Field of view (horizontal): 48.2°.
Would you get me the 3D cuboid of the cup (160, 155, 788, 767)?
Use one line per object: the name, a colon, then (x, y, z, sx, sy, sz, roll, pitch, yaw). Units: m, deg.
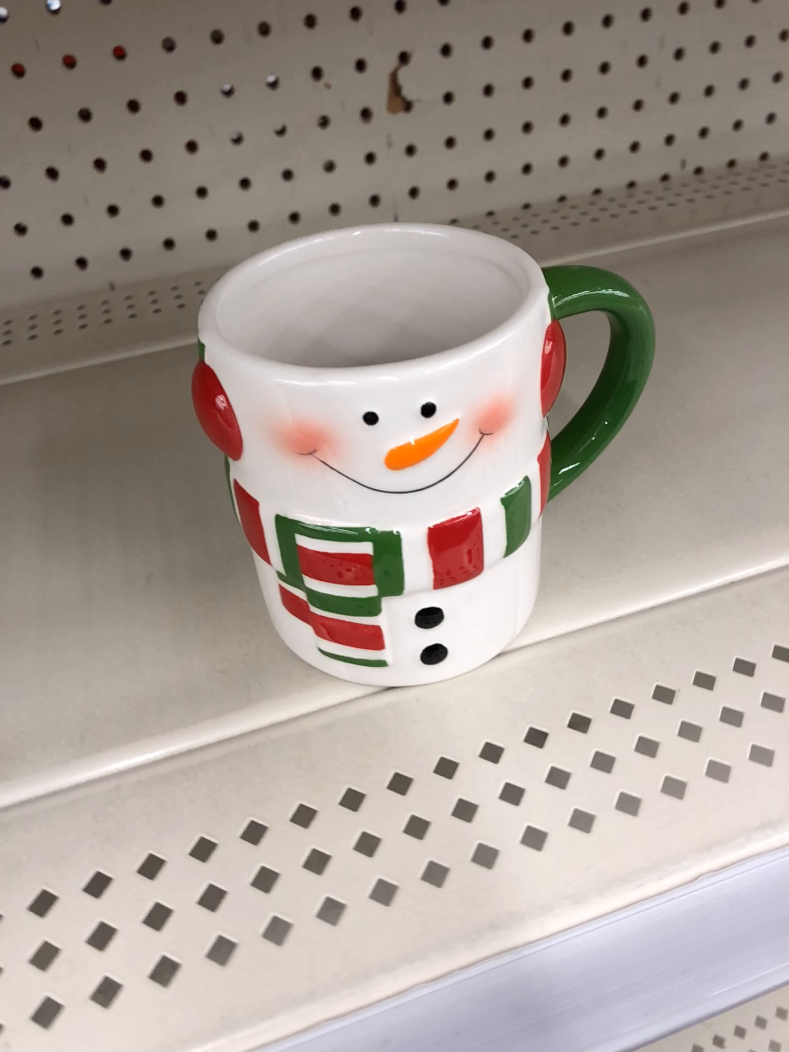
cup: (0.020, -0.023, 0.249, 0.130, 0.110, 0.090, -18, 42, -14)
